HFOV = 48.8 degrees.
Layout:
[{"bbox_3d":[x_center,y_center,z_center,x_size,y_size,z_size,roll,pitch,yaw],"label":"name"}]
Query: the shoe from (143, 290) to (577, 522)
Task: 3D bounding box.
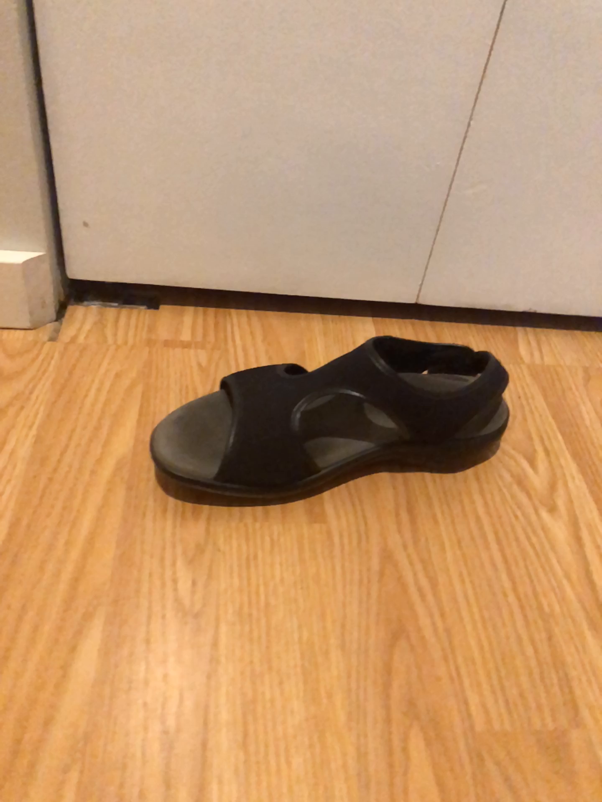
[{"bbox_3d":[0.027,0.000,0.435,0.250,0.100,0.100,-1,42,-13],"label":"shoe"}]
